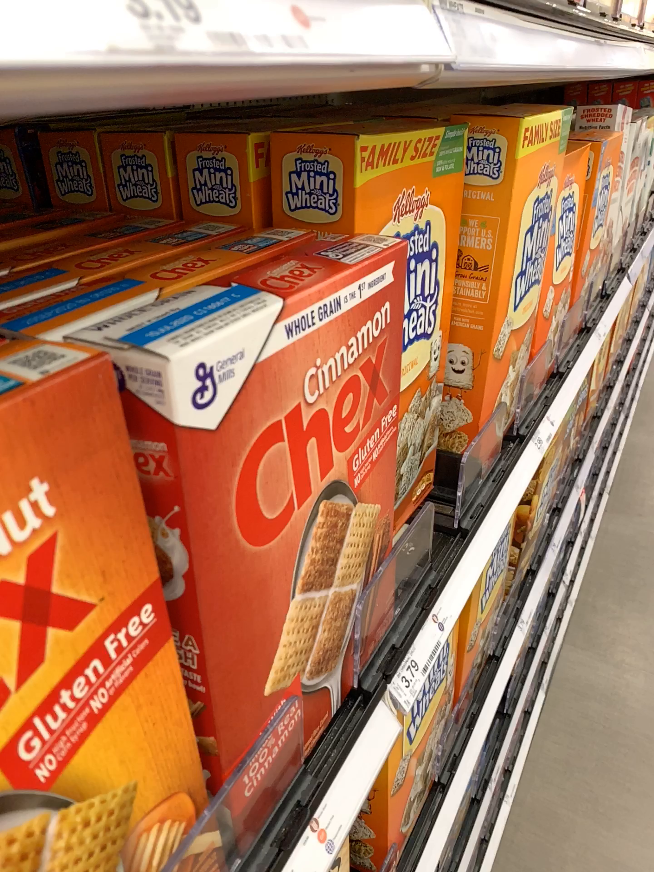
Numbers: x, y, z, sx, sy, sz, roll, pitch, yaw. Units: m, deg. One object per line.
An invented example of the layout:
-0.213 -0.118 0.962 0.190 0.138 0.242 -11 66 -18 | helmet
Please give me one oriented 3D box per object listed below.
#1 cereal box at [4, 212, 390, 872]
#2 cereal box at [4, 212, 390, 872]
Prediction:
-0.037 0.050 0.371 0.060 0.298 0.201 13 31 26 | cereal box
-0.037 0.050 0.371 0.060 0.298 0.201 13 31 26 | cereal box
